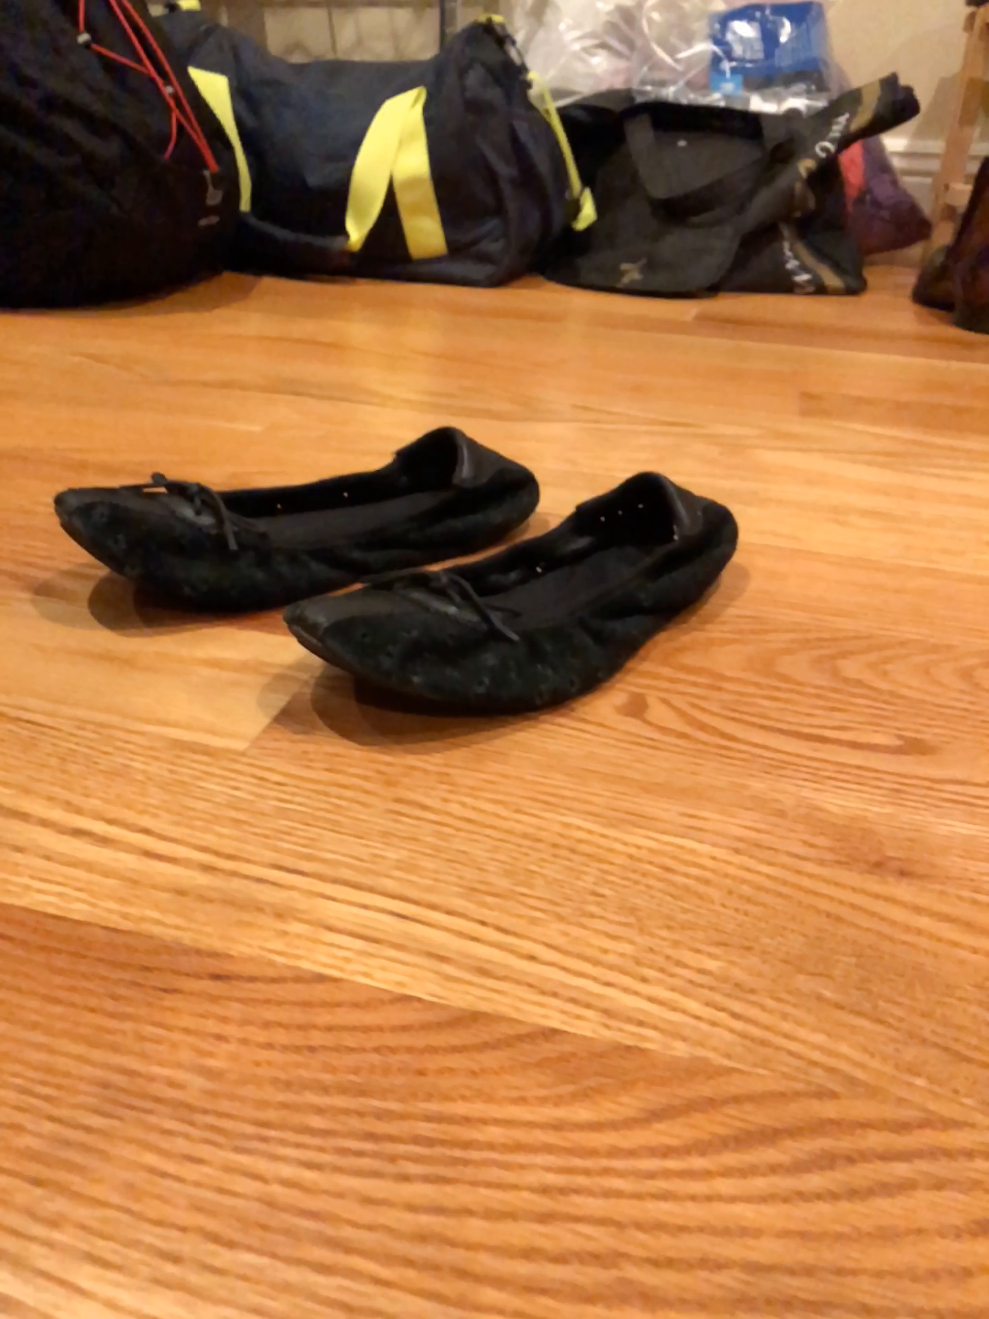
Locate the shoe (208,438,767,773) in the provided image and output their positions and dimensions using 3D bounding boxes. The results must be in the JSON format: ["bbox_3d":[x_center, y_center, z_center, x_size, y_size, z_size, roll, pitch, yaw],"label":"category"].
[{"bbox_3d":[0.008,-0.035,0.433,0.093,0.046,0.221,24,34,35],"label":"shoe"}]

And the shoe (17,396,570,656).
[{"bbox_3d":[-0.083,-0.071,0.494,0.221,0.050,0.100,-18,34,-35],"label":"shoe"}]
